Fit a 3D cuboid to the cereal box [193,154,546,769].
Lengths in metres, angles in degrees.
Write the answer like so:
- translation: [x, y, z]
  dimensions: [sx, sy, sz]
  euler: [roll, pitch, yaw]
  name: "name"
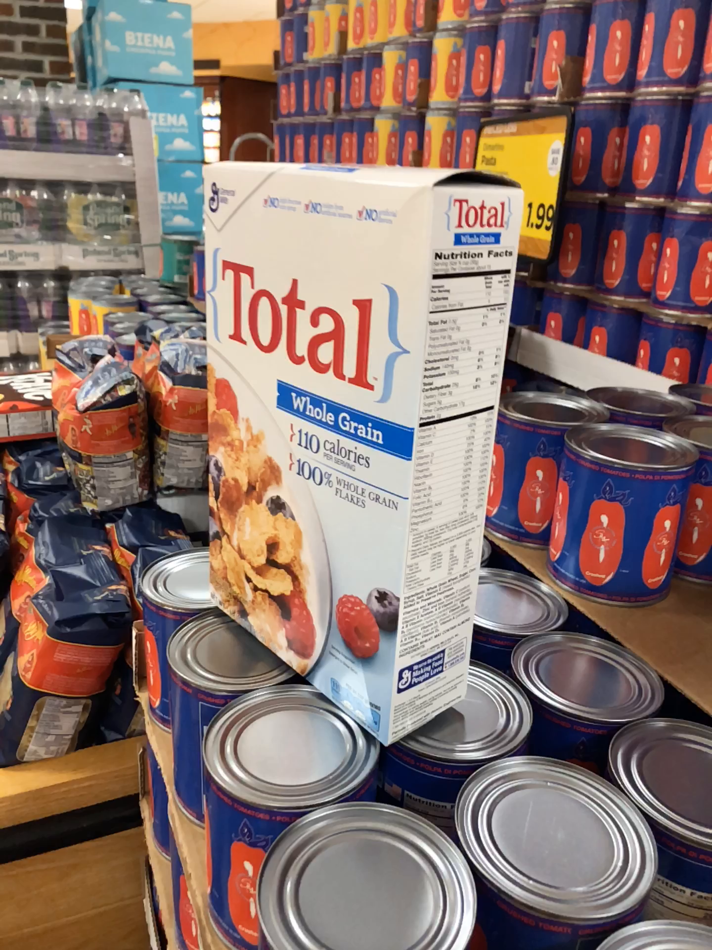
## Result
- translation: [-0.014, -0.023, 0.472]
  dimensions: [0.070, 0.308, 0.211]
  euler: [-13, 26, -38]
  name: "cereal box"
